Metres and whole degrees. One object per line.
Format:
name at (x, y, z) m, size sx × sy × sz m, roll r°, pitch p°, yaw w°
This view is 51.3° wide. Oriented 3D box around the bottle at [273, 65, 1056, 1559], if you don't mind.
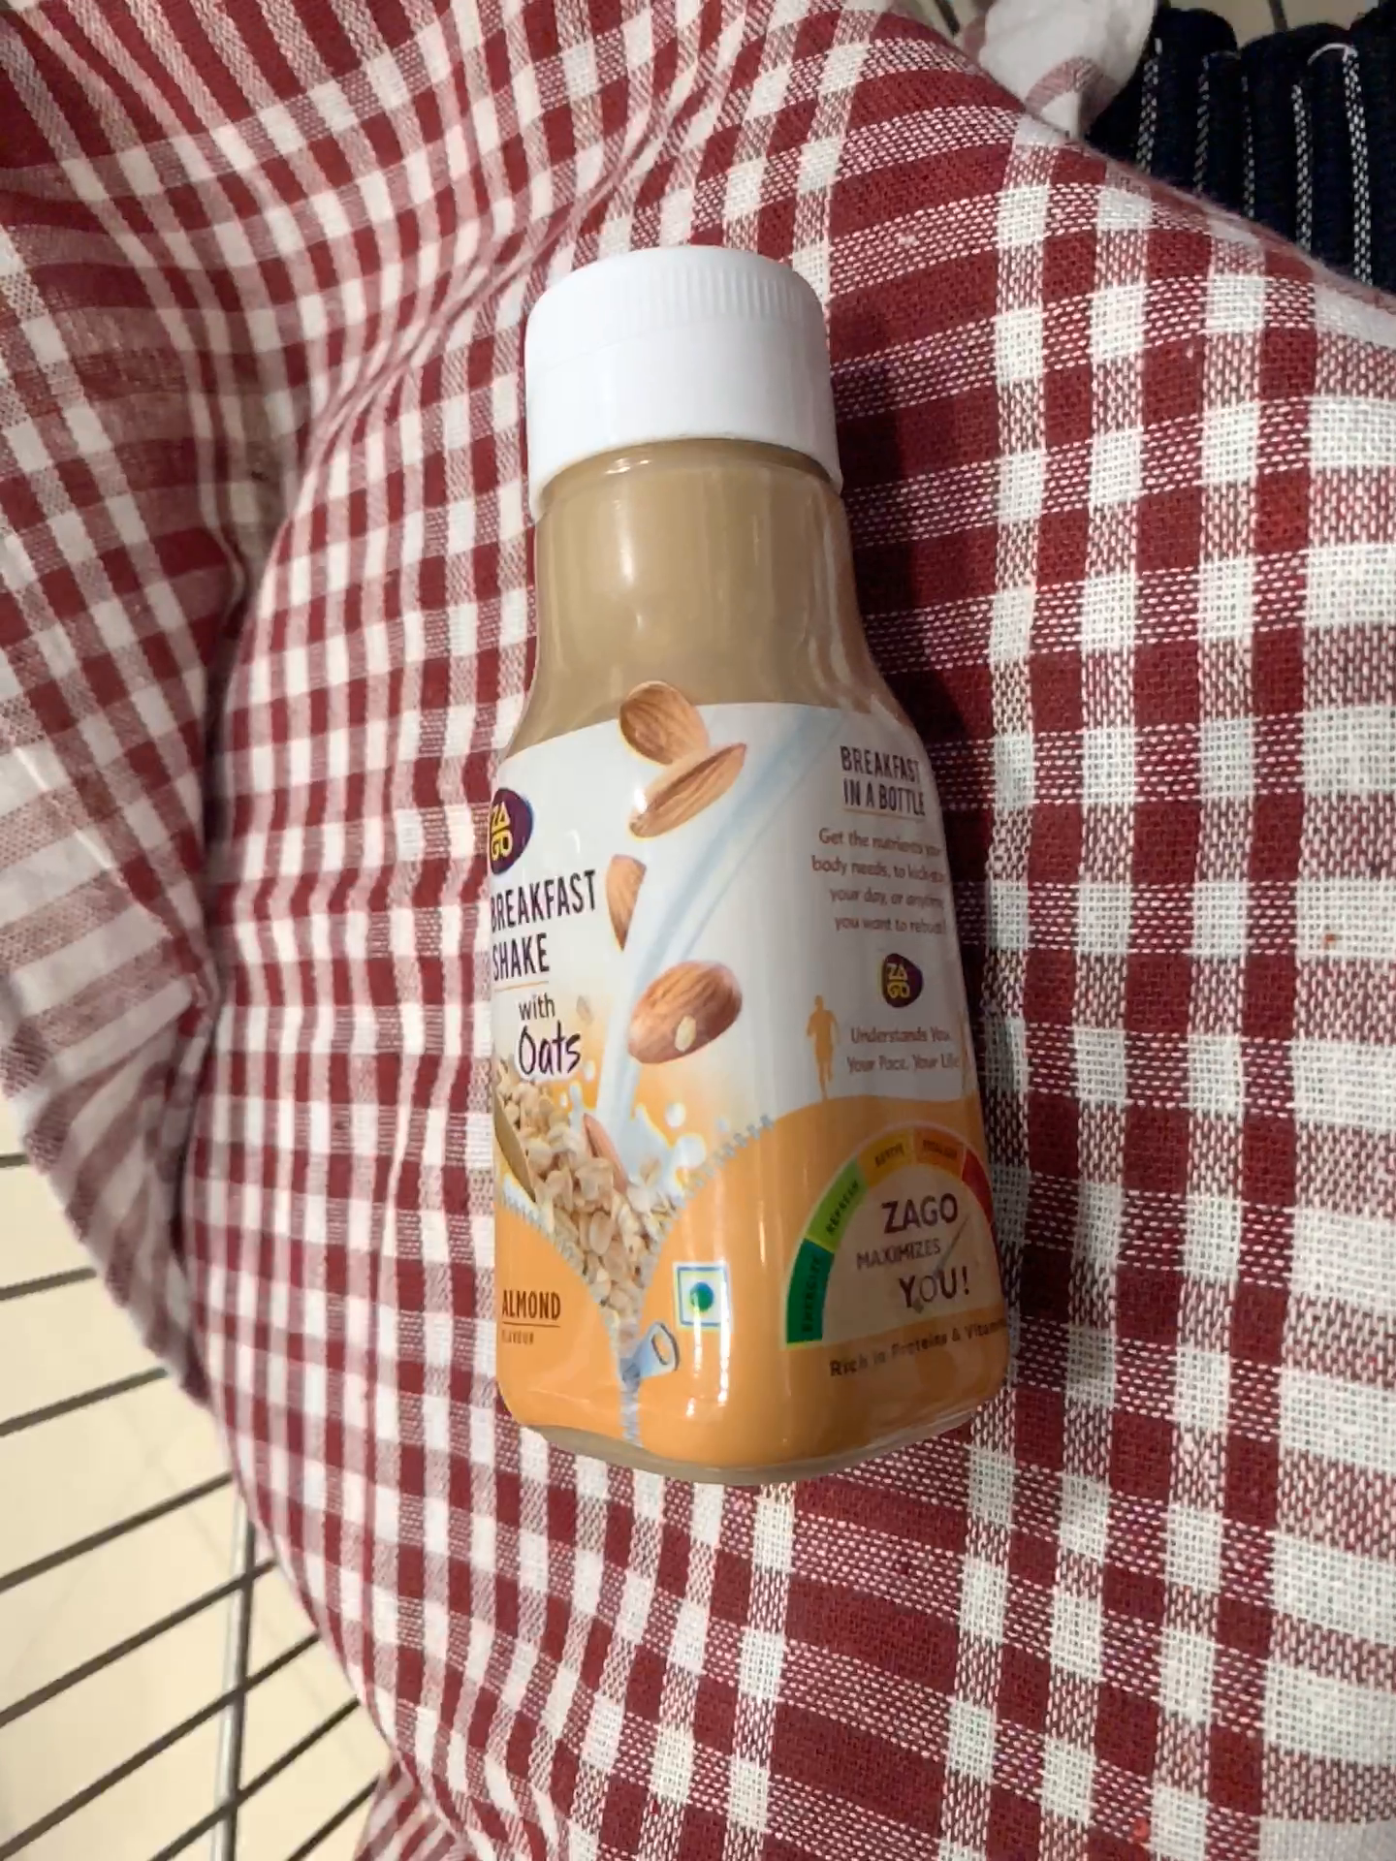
bottle at (-0.004, -0.010, 0.173) m, size 0.060 × 0.050 × 0.140 m, roll -7°, pitch 89°, yaw 38°
